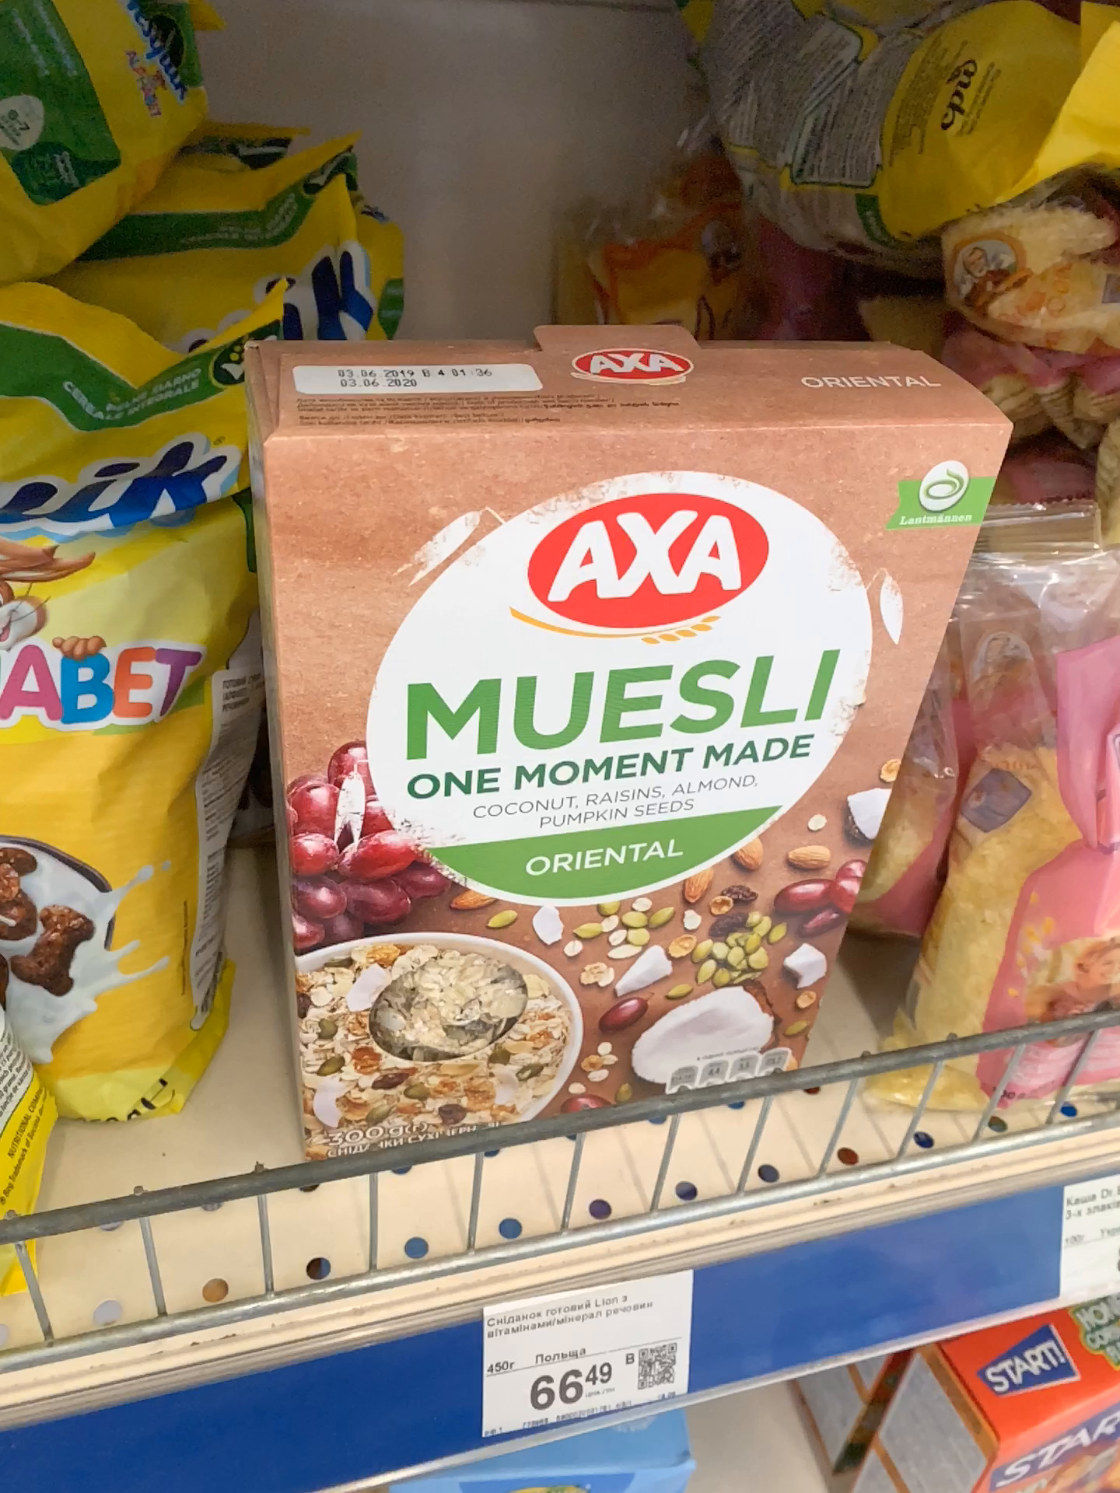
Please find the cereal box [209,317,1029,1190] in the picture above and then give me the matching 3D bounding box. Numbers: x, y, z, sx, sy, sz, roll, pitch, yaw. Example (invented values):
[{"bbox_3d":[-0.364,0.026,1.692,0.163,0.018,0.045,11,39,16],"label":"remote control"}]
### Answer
[{"bbox_3d":[0.001,0.013,0.289,0.150,0.218,0.050,-5,39,-14],"label":"cereal box"}]
